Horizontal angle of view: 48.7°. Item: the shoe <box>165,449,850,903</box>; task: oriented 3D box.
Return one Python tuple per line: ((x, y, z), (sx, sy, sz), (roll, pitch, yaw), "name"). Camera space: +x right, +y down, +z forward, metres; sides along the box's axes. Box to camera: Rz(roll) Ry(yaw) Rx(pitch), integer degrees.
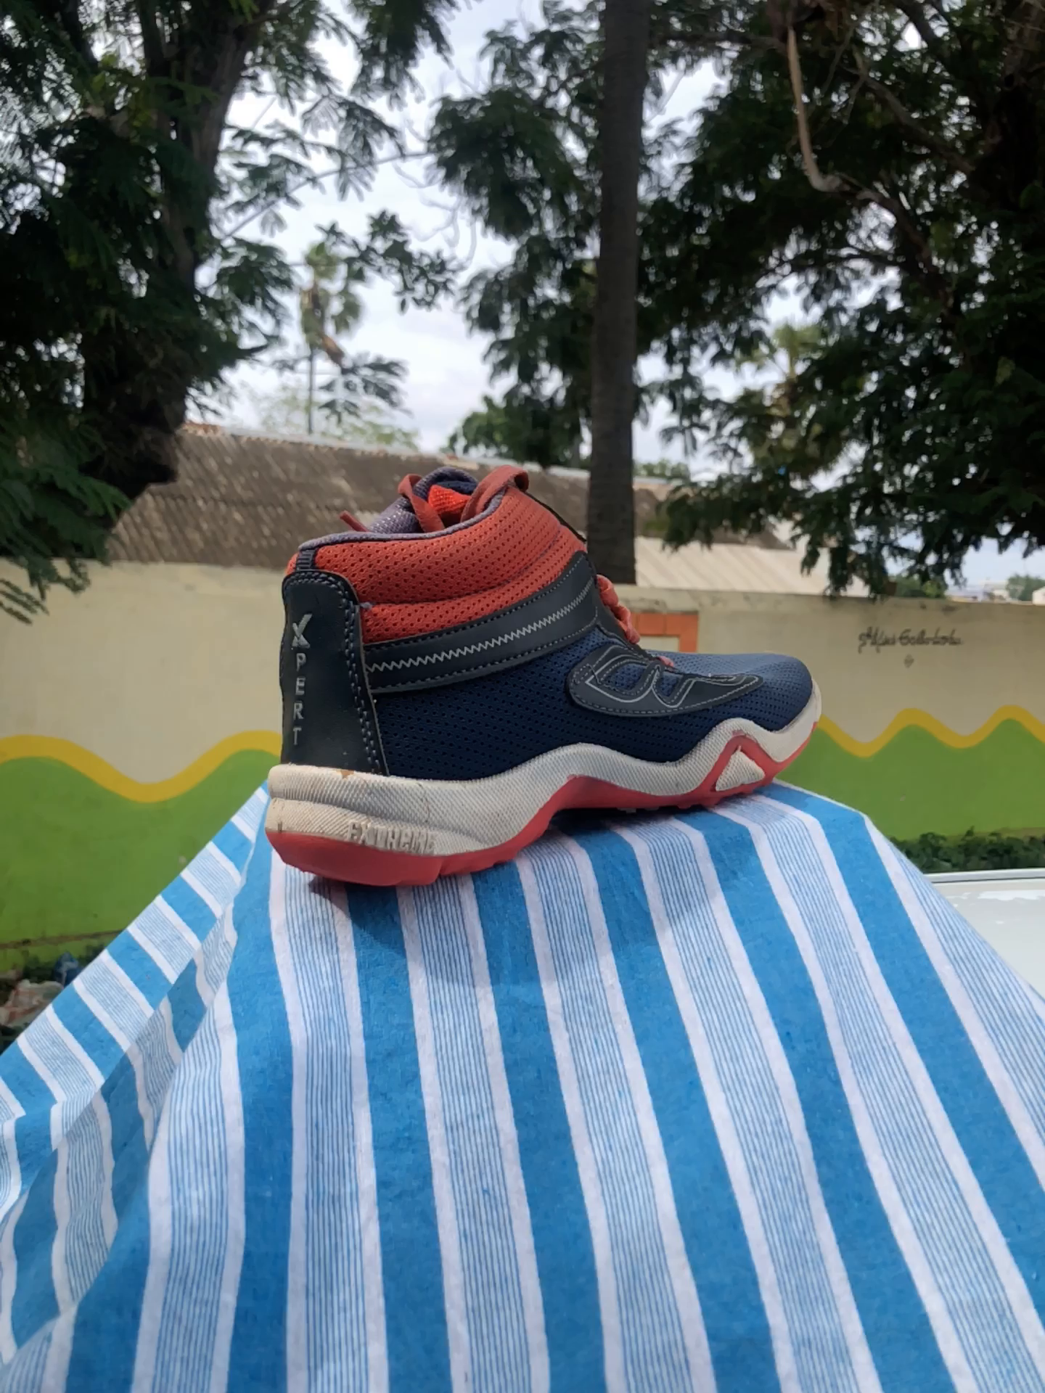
((0.013, -0.014, 0.439), (0.100, 0.120, 0.271), (6, 6, 41), "shoe")
